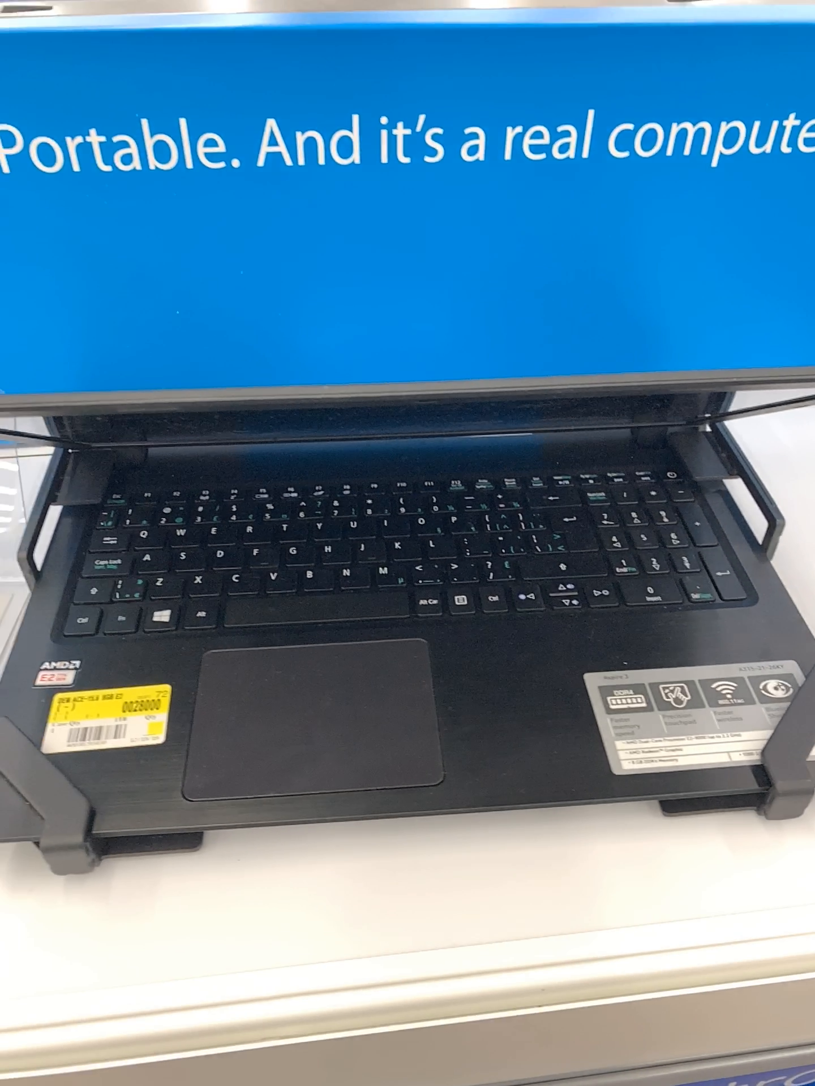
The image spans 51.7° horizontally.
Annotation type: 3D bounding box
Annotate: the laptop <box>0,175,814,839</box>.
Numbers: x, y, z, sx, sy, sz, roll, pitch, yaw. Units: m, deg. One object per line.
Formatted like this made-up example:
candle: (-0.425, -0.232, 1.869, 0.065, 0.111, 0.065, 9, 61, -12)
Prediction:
laptop: (0.003, -0.034, 0.362, 0.364, 0.146, 0.234, -3, 44, -3)
